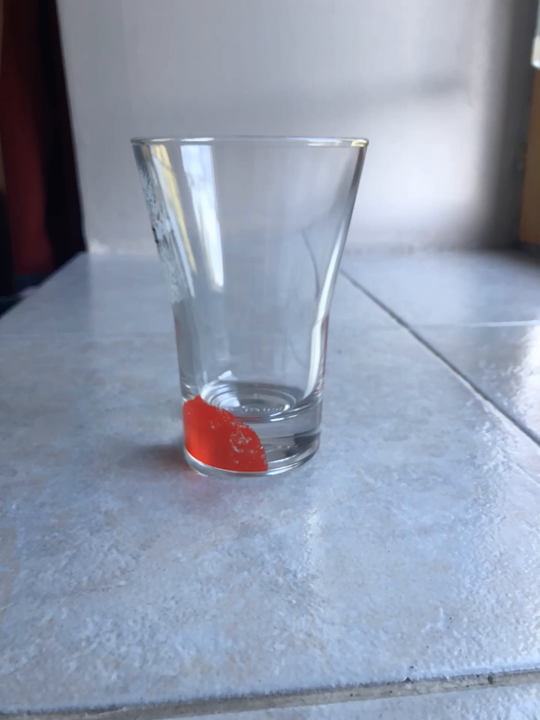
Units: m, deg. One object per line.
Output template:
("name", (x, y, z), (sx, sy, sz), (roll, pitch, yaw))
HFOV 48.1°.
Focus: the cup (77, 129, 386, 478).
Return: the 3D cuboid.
("cup", (-0.009, -0.028, 0.244), (0.092, 0.116, 0.096), (-1, 19, 0))
